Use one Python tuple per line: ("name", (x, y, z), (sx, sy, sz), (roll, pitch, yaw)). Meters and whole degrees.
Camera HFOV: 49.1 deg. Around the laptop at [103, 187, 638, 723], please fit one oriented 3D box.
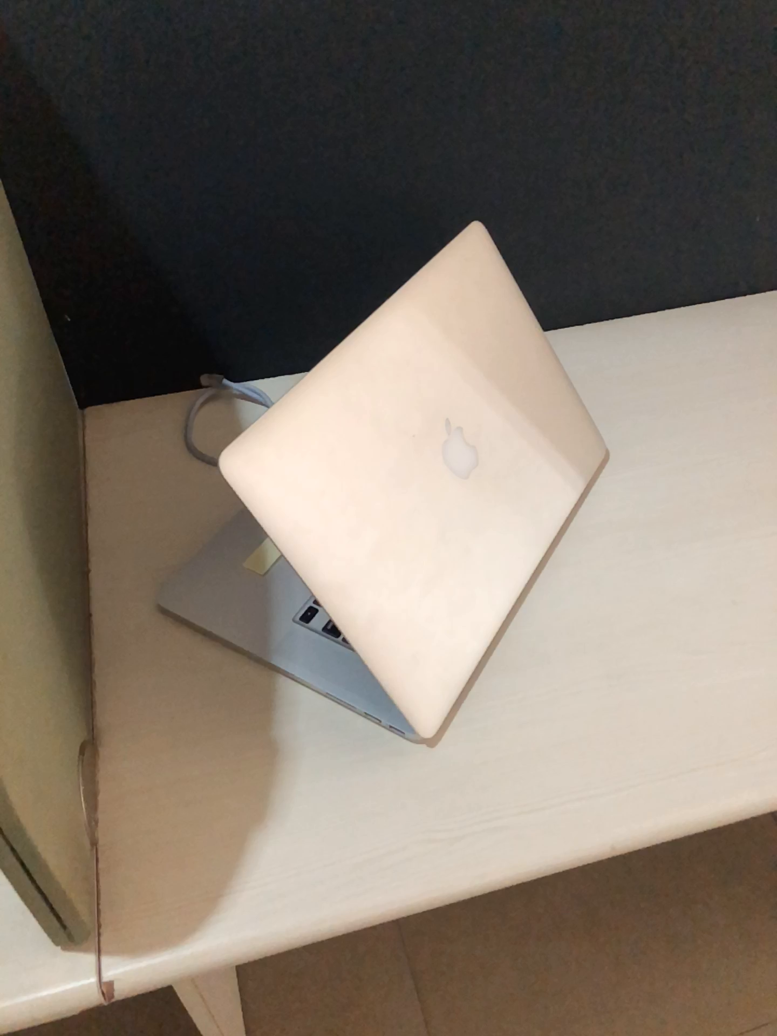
("laptop", (0.009, -0.074, 0.668), (0.235, 0.198, 0.344), (22, 49, 21))
